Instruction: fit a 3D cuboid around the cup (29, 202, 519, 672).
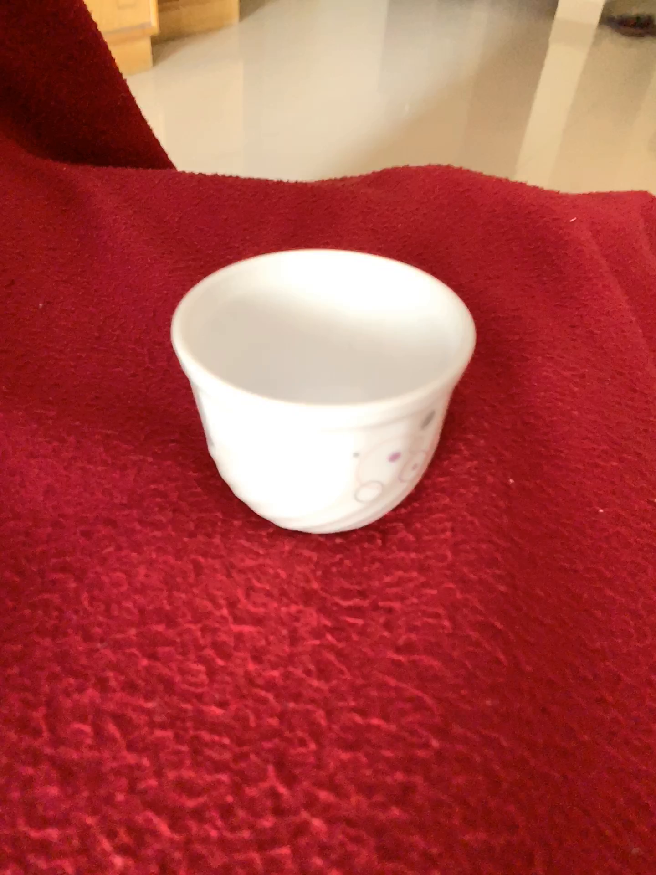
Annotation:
[{"bbox_3d":[-0.005,-0.010,0.177,0.080,0.050,0.101,19,44,13],"label":"cup"}]
